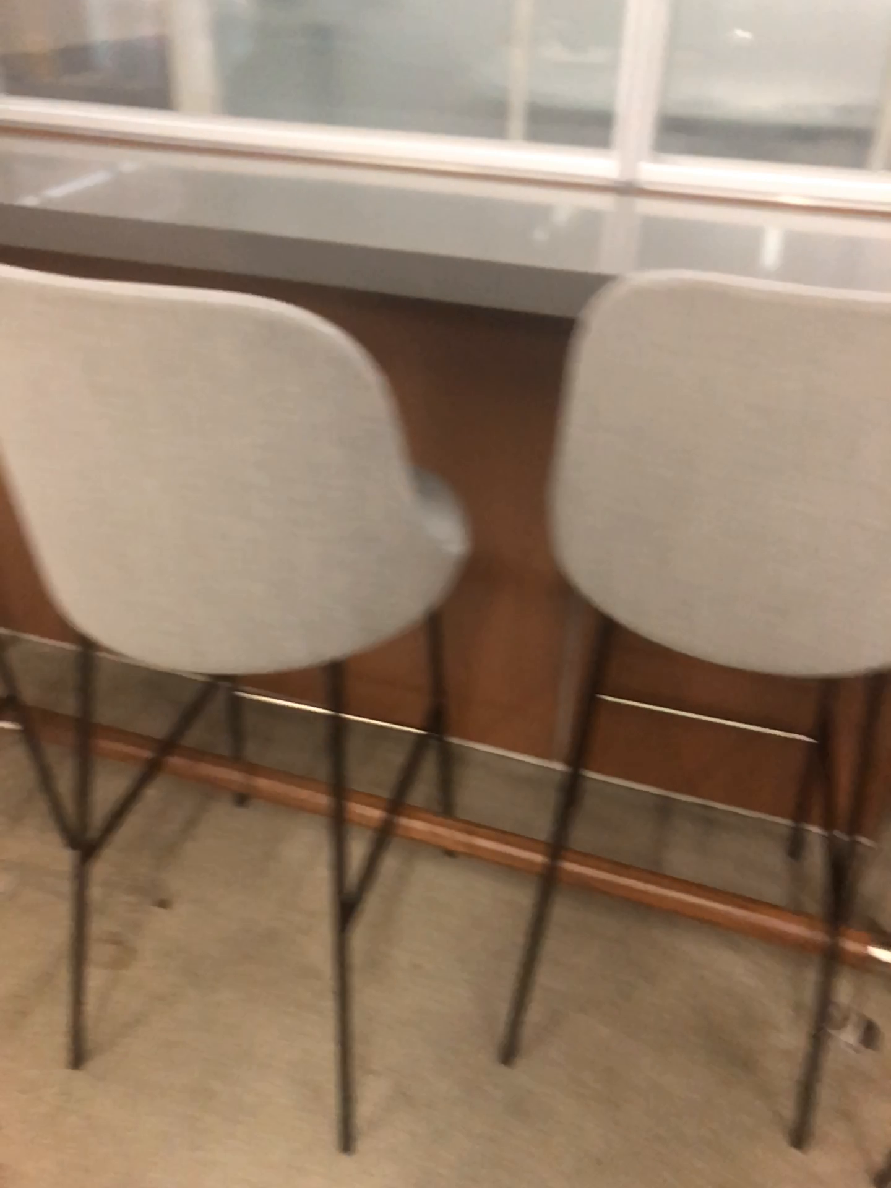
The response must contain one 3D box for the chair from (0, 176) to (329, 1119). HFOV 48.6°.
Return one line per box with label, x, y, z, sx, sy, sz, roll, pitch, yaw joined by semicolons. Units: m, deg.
chair;-0.683;0.136;1.759;0.710;1.487;0.626;9;34;12
